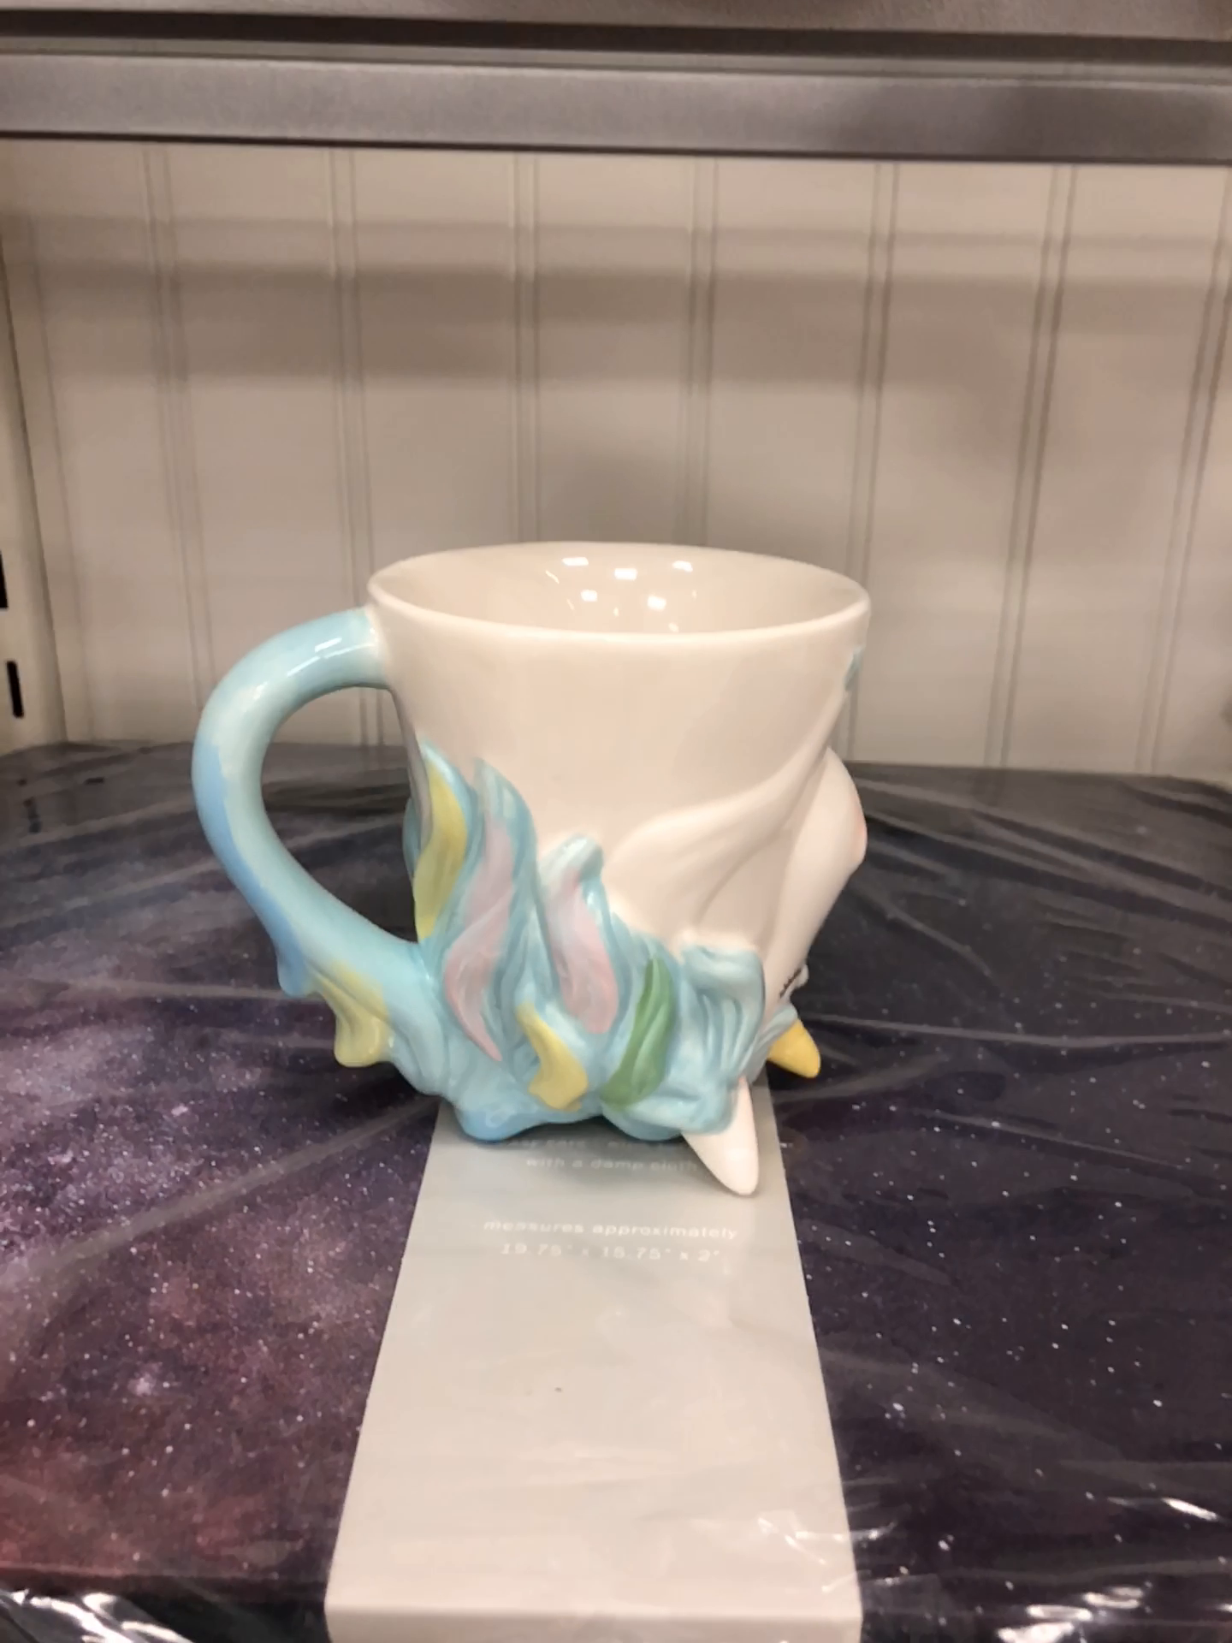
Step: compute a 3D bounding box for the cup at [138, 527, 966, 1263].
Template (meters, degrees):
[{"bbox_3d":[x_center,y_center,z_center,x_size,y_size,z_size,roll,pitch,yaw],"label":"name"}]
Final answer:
[{"bbox_3d":[-0.017,0.006,0.296,0.140,0.118,0.101,-3,22,-10],"label":"cup"}]
